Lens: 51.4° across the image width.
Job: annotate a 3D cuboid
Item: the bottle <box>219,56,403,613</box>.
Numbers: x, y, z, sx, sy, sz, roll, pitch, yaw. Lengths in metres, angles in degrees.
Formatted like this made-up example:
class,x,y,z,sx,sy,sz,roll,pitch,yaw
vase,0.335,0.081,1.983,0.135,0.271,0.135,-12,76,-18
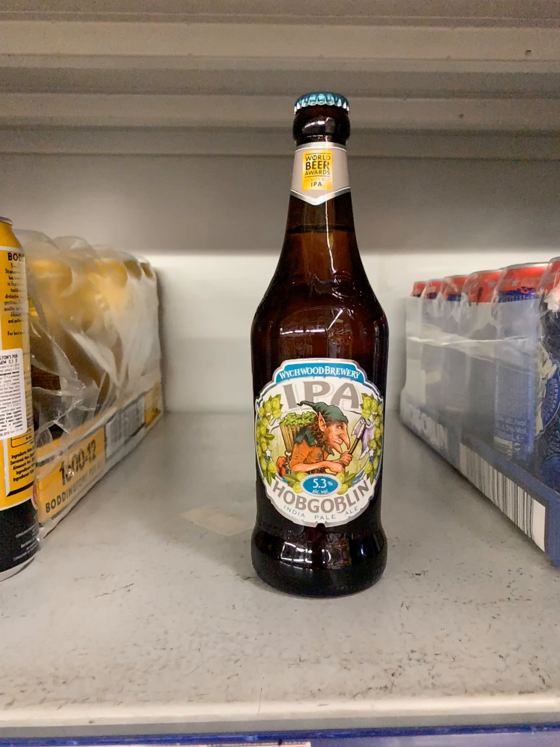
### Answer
class,x,y,z,sx,sy,sz,roll,pitch,yaw
bottle,0.017,-0.017,0.305,0.080,0.250,0.080,0,6,0
